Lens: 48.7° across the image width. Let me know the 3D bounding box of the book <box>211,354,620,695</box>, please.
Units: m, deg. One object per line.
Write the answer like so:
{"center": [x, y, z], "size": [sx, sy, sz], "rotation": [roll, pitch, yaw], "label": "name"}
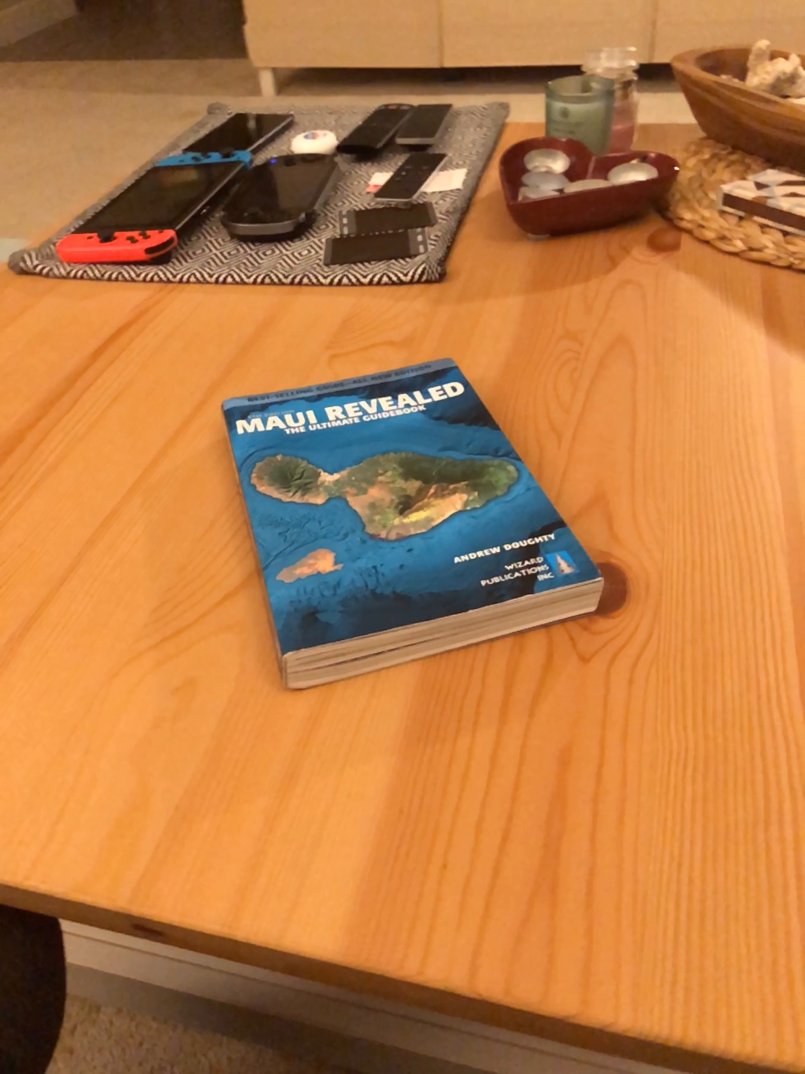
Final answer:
{"center": [-0.007, -0.022, 0.438], "size": [0.146, 0.020, 0.201], "rotation": [-12, 42, -12], "label": "book"}
